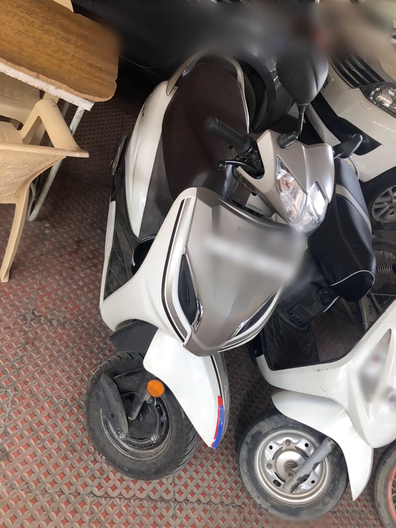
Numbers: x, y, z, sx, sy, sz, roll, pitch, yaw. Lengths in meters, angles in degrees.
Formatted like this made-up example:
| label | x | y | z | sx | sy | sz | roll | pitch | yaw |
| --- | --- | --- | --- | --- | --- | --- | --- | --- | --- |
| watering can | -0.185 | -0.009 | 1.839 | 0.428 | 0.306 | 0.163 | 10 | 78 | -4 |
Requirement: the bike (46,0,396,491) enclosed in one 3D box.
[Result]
| label | x | y | z | sx | sy | sz | roll | pitch | yaw |
| --- | --- | --- | --- | --- | --- | --- | --- | --- | --- |
| bike | -0.018 | -0.120 | 1.598 | 0.627 | 0.850 | 1.461 | 16 | 50 | -27 |
